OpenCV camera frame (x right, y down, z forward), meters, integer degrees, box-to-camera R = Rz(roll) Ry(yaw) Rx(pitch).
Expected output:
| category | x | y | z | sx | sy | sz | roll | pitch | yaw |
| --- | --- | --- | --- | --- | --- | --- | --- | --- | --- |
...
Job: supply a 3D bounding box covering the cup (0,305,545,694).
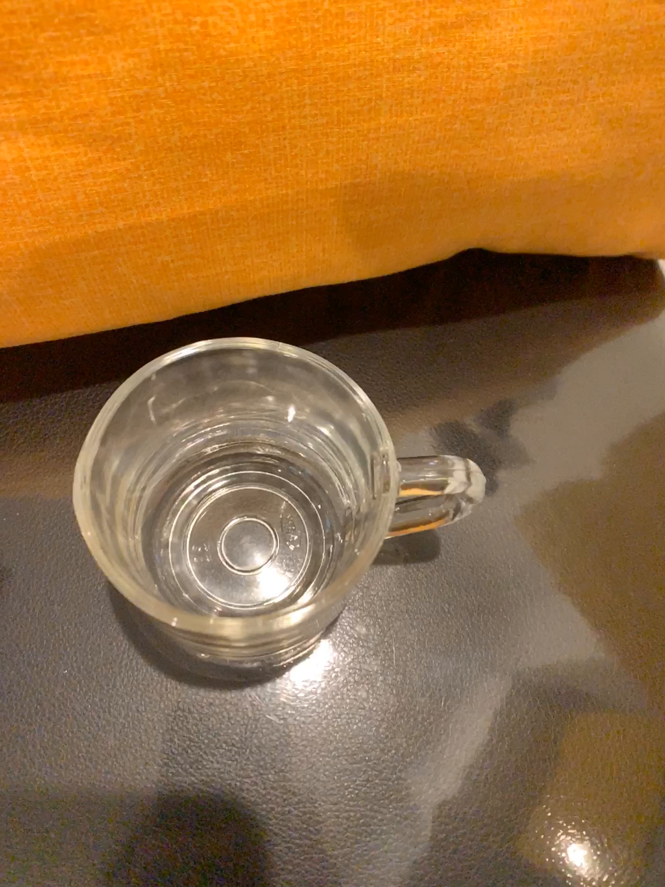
| category | x | y | z | sx | sy | sz | roll | pitch | yaw |
| --- | --- | --- | --- | --- | --- | --- | --- | --- | --- |
| cup | -0.016 | 0.015 | 0.167 | 0.100 | 0.060 | 0.070 | -4 | 67 | -8 |
